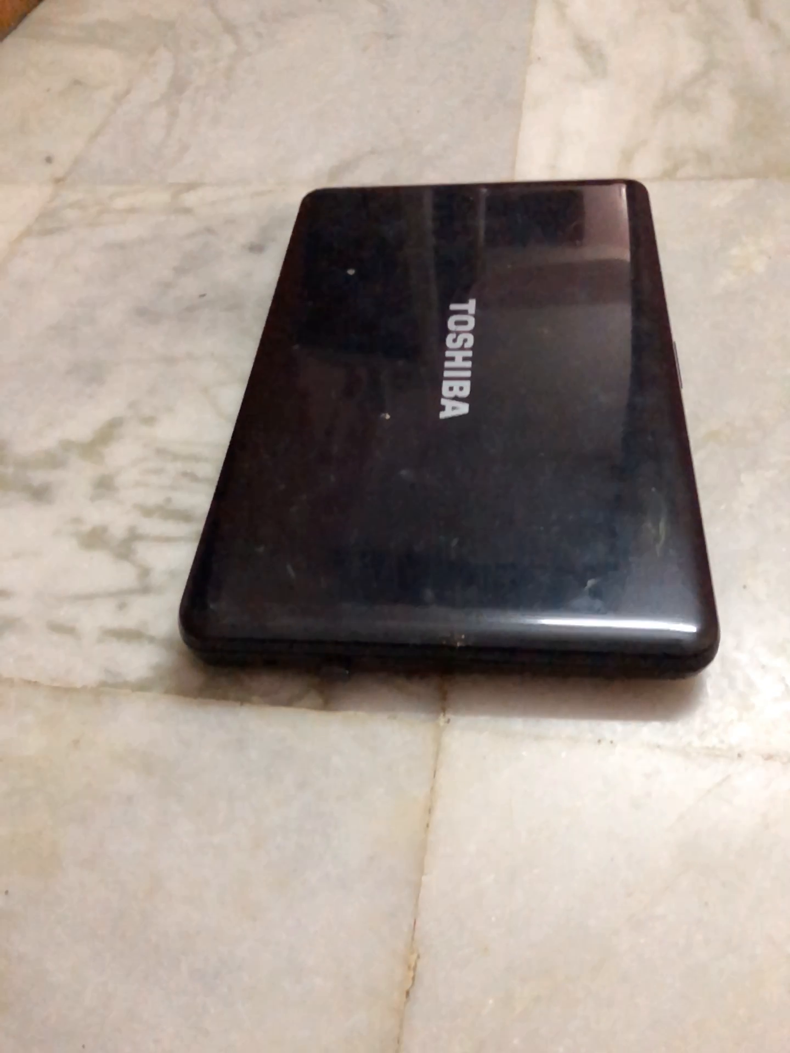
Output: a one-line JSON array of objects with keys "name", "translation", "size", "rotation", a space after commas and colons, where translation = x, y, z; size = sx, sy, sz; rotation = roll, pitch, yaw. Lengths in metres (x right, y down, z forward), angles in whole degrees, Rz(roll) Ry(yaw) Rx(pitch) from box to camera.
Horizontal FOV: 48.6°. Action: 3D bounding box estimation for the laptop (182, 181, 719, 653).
[{"name": "laptop", "translation": [0.037, -0.091, 0.480], "size": [0.224, 0.004, 0.361], "rotation": [1, 51, 7]}]
